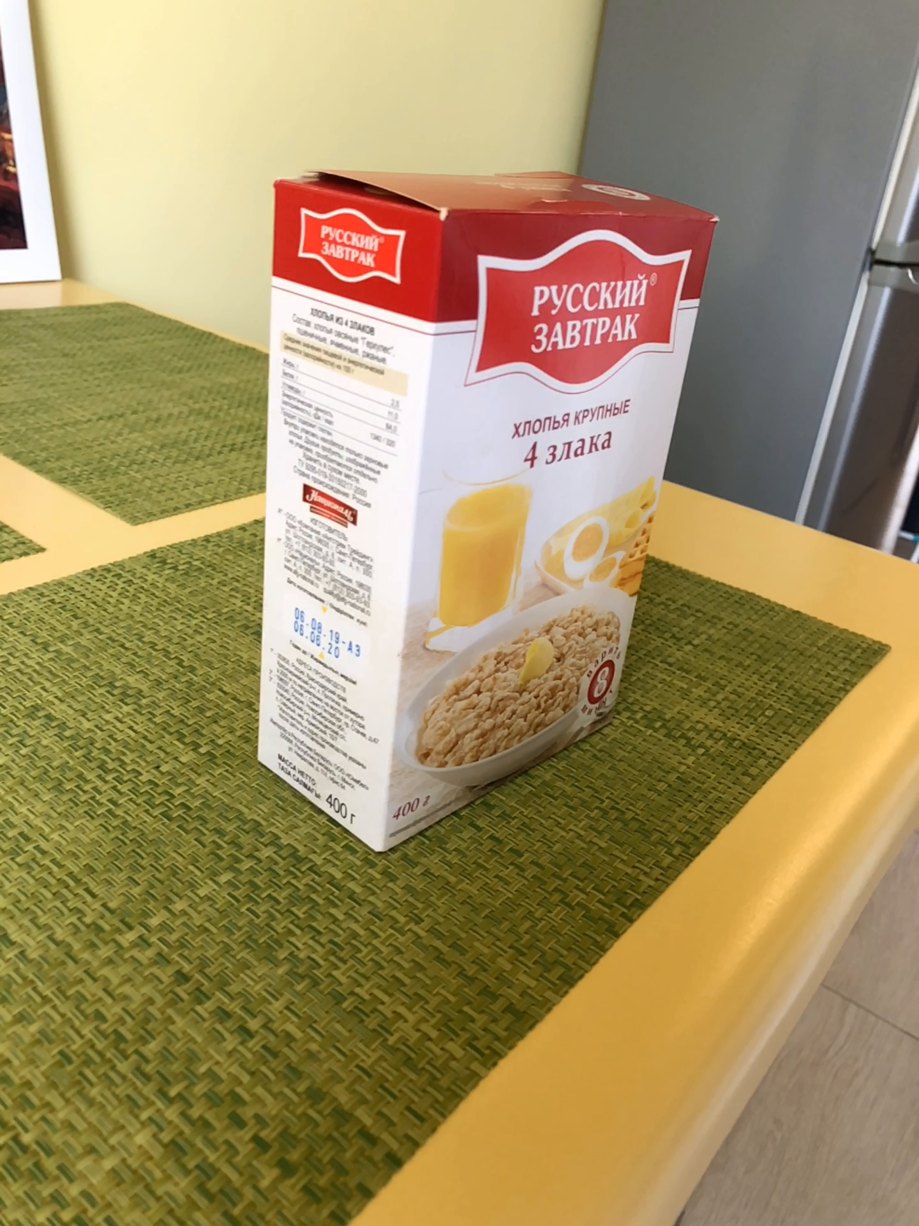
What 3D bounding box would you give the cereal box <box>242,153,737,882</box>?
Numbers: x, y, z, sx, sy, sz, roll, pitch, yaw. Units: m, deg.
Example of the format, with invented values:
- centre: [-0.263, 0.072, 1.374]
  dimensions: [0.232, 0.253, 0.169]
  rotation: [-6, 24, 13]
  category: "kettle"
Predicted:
- centre: [0.006, -0.036, 0.336]
  dimensions: [0.070, 0.199, 0.131]
  rotation: [27, 31, 35]
  category: "cereal box"
